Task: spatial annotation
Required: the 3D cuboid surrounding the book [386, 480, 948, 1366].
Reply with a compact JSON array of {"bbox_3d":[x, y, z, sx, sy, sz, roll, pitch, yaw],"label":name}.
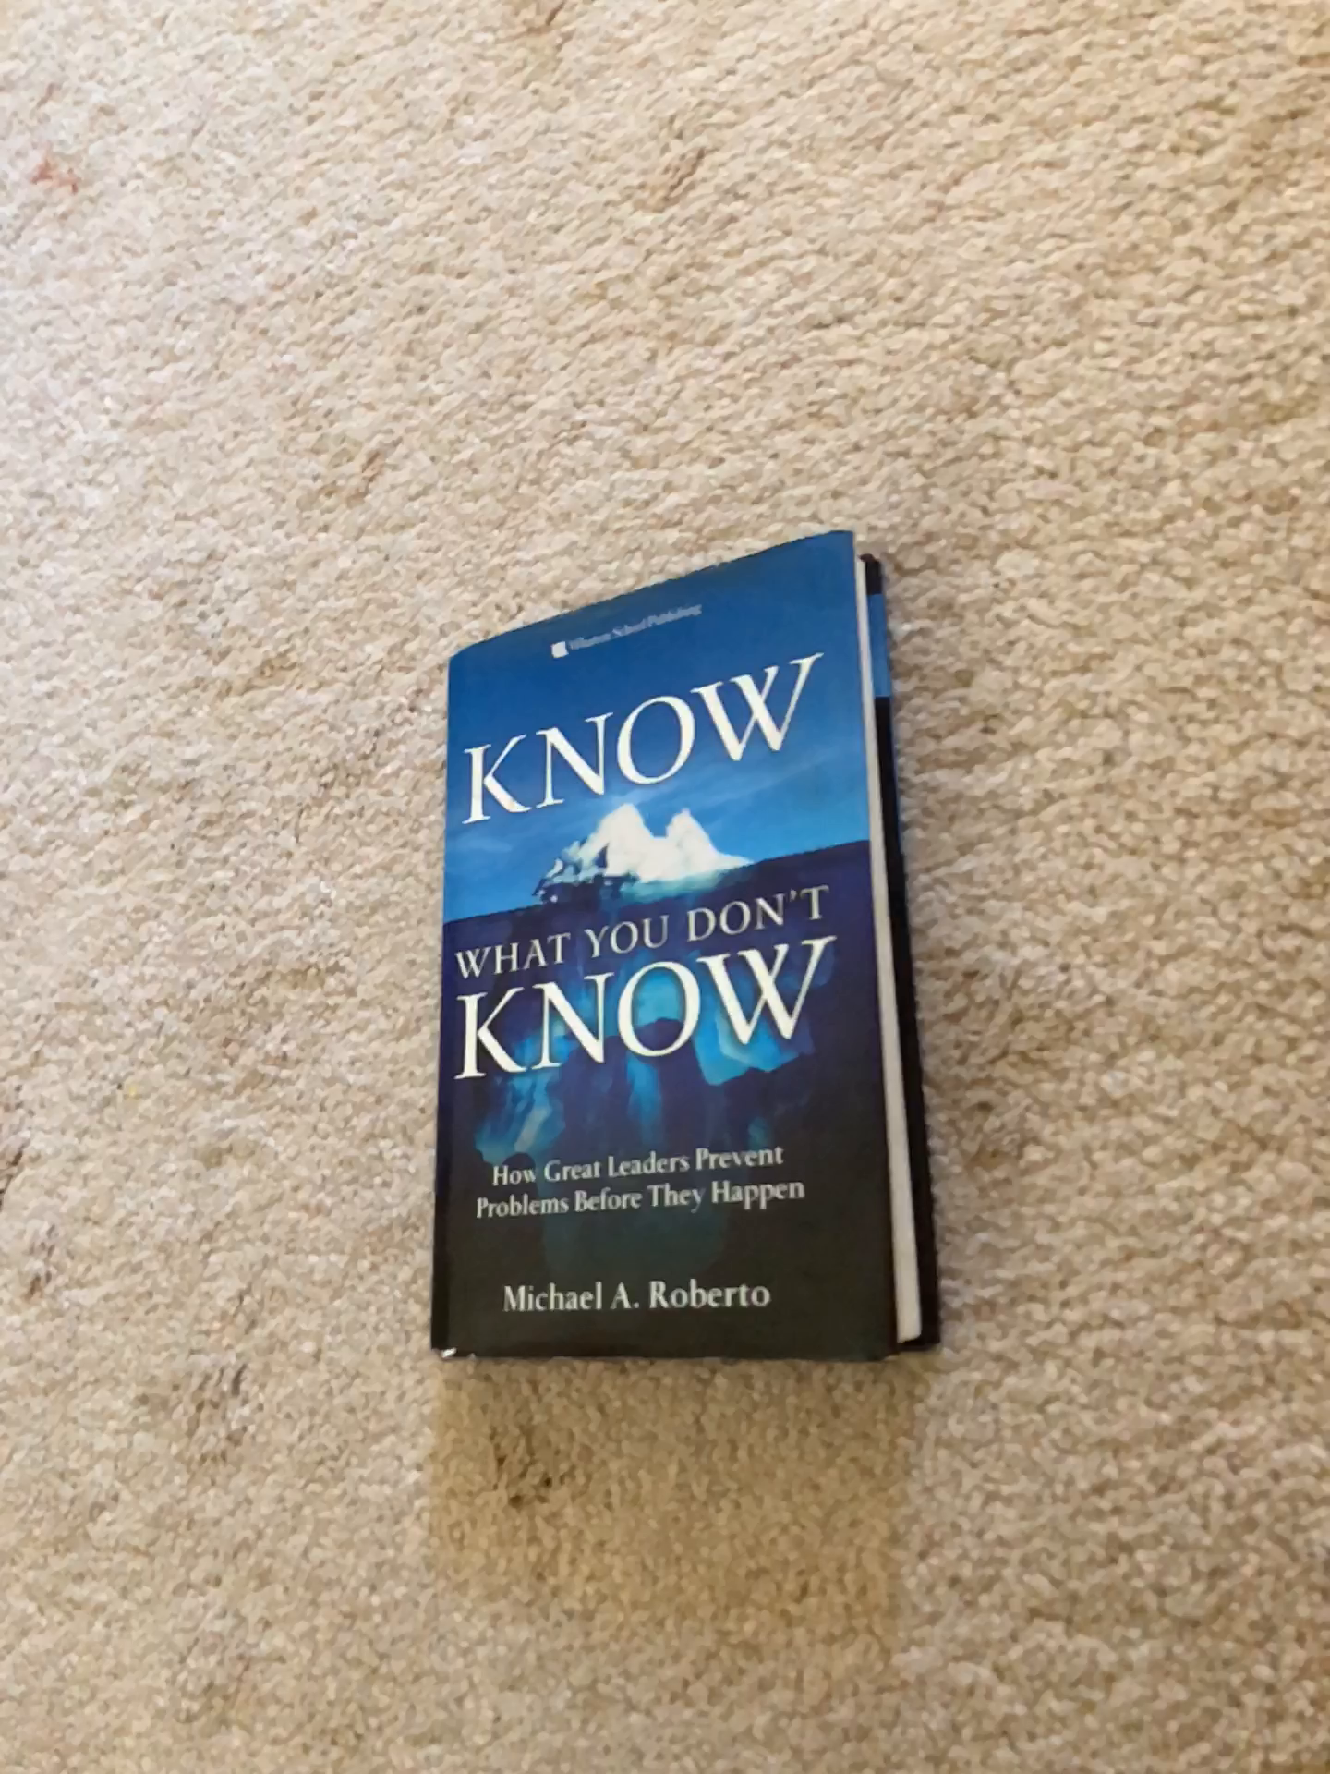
[{"bbox_3d":[-0.007,0.016,0.437,0.160,0.034,0.240,-11,71,30],"label":"book"}]
